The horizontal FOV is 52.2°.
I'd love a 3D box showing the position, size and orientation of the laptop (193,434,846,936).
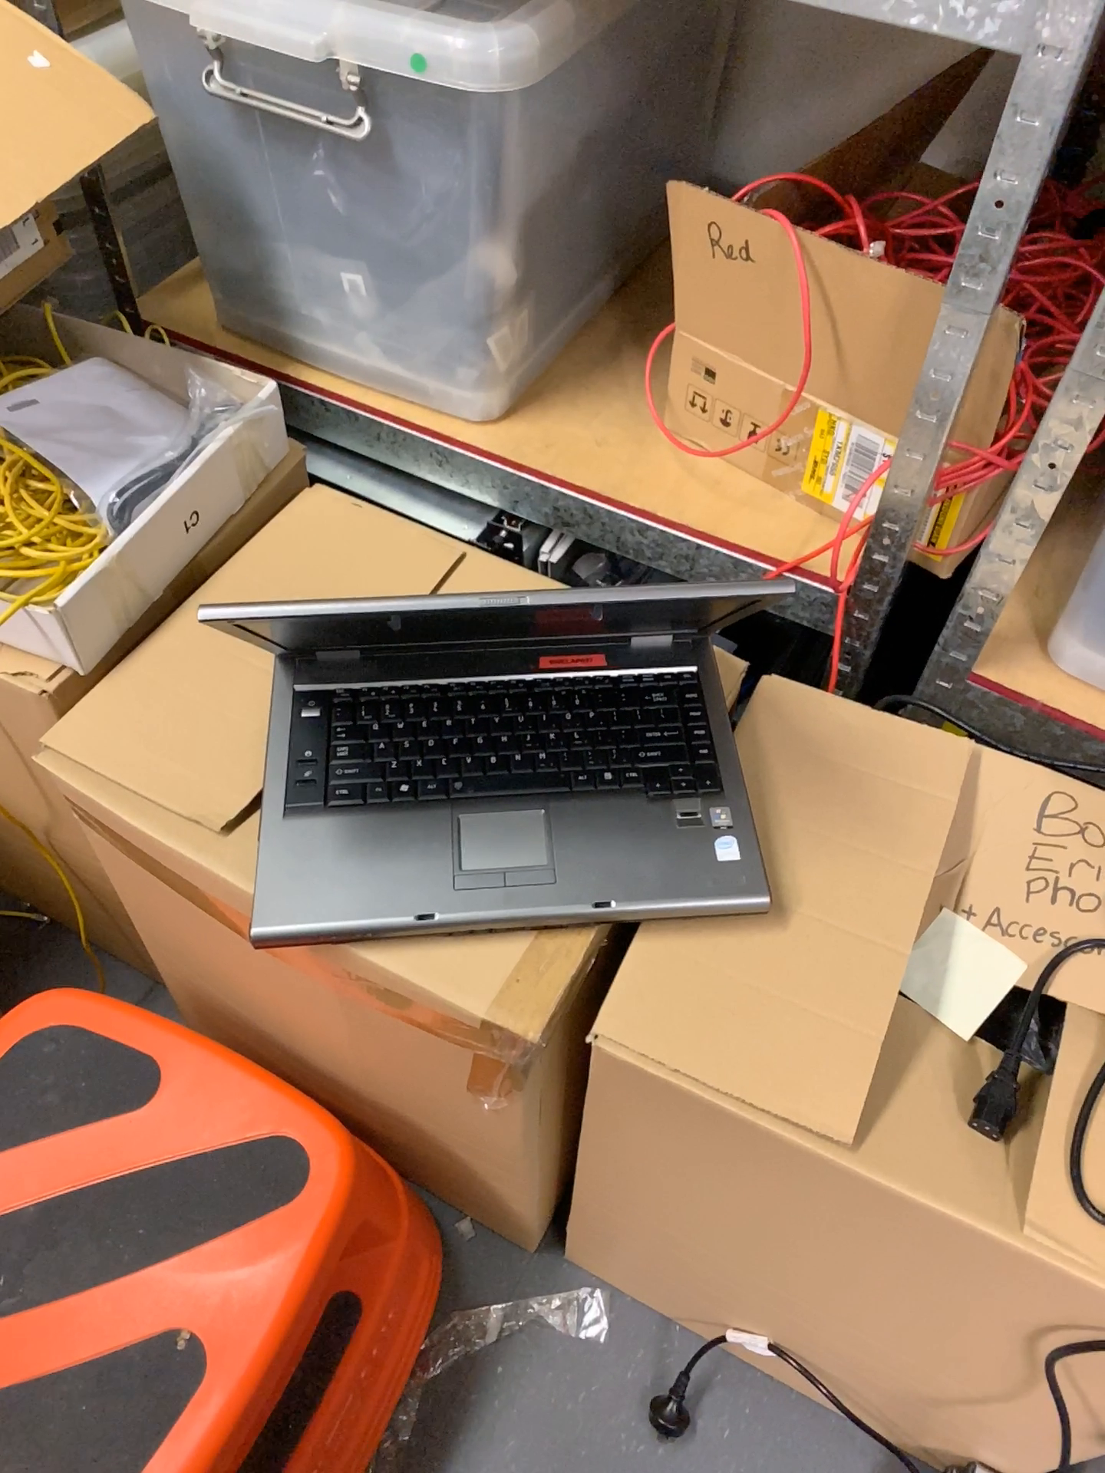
[{"bbox_3d":[-0.031,-0.036,0.766,0.352,0.203,0.254,-3,52,-3],"label":"laptop"}]
